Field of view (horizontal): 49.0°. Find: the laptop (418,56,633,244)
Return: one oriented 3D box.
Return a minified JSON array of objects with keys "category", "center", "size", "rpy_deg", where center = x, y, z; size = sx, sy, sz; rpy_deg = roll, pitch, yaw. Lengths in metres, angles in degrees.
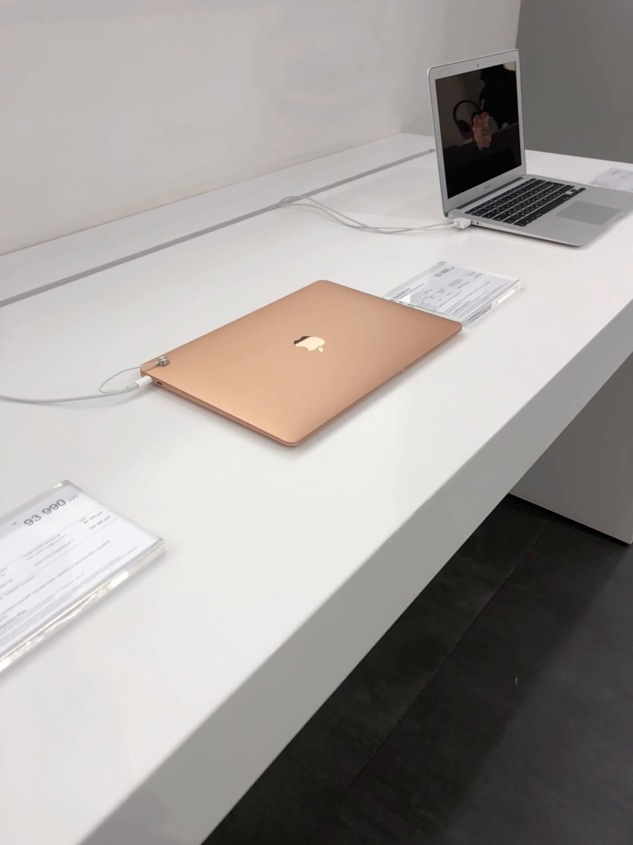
[{"category":"laptop","center":[0.373,-0.460,1.133],"size":[0.257,0.213,0.346],"rpy_deg":[21,37,29]}]

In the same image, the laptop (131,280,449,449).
[{"category":"laptop","center":[-0.019,-0.080,0.749],"size":[0.201,0.005,0.294],"rpy_deg":[24,41,31]}]
